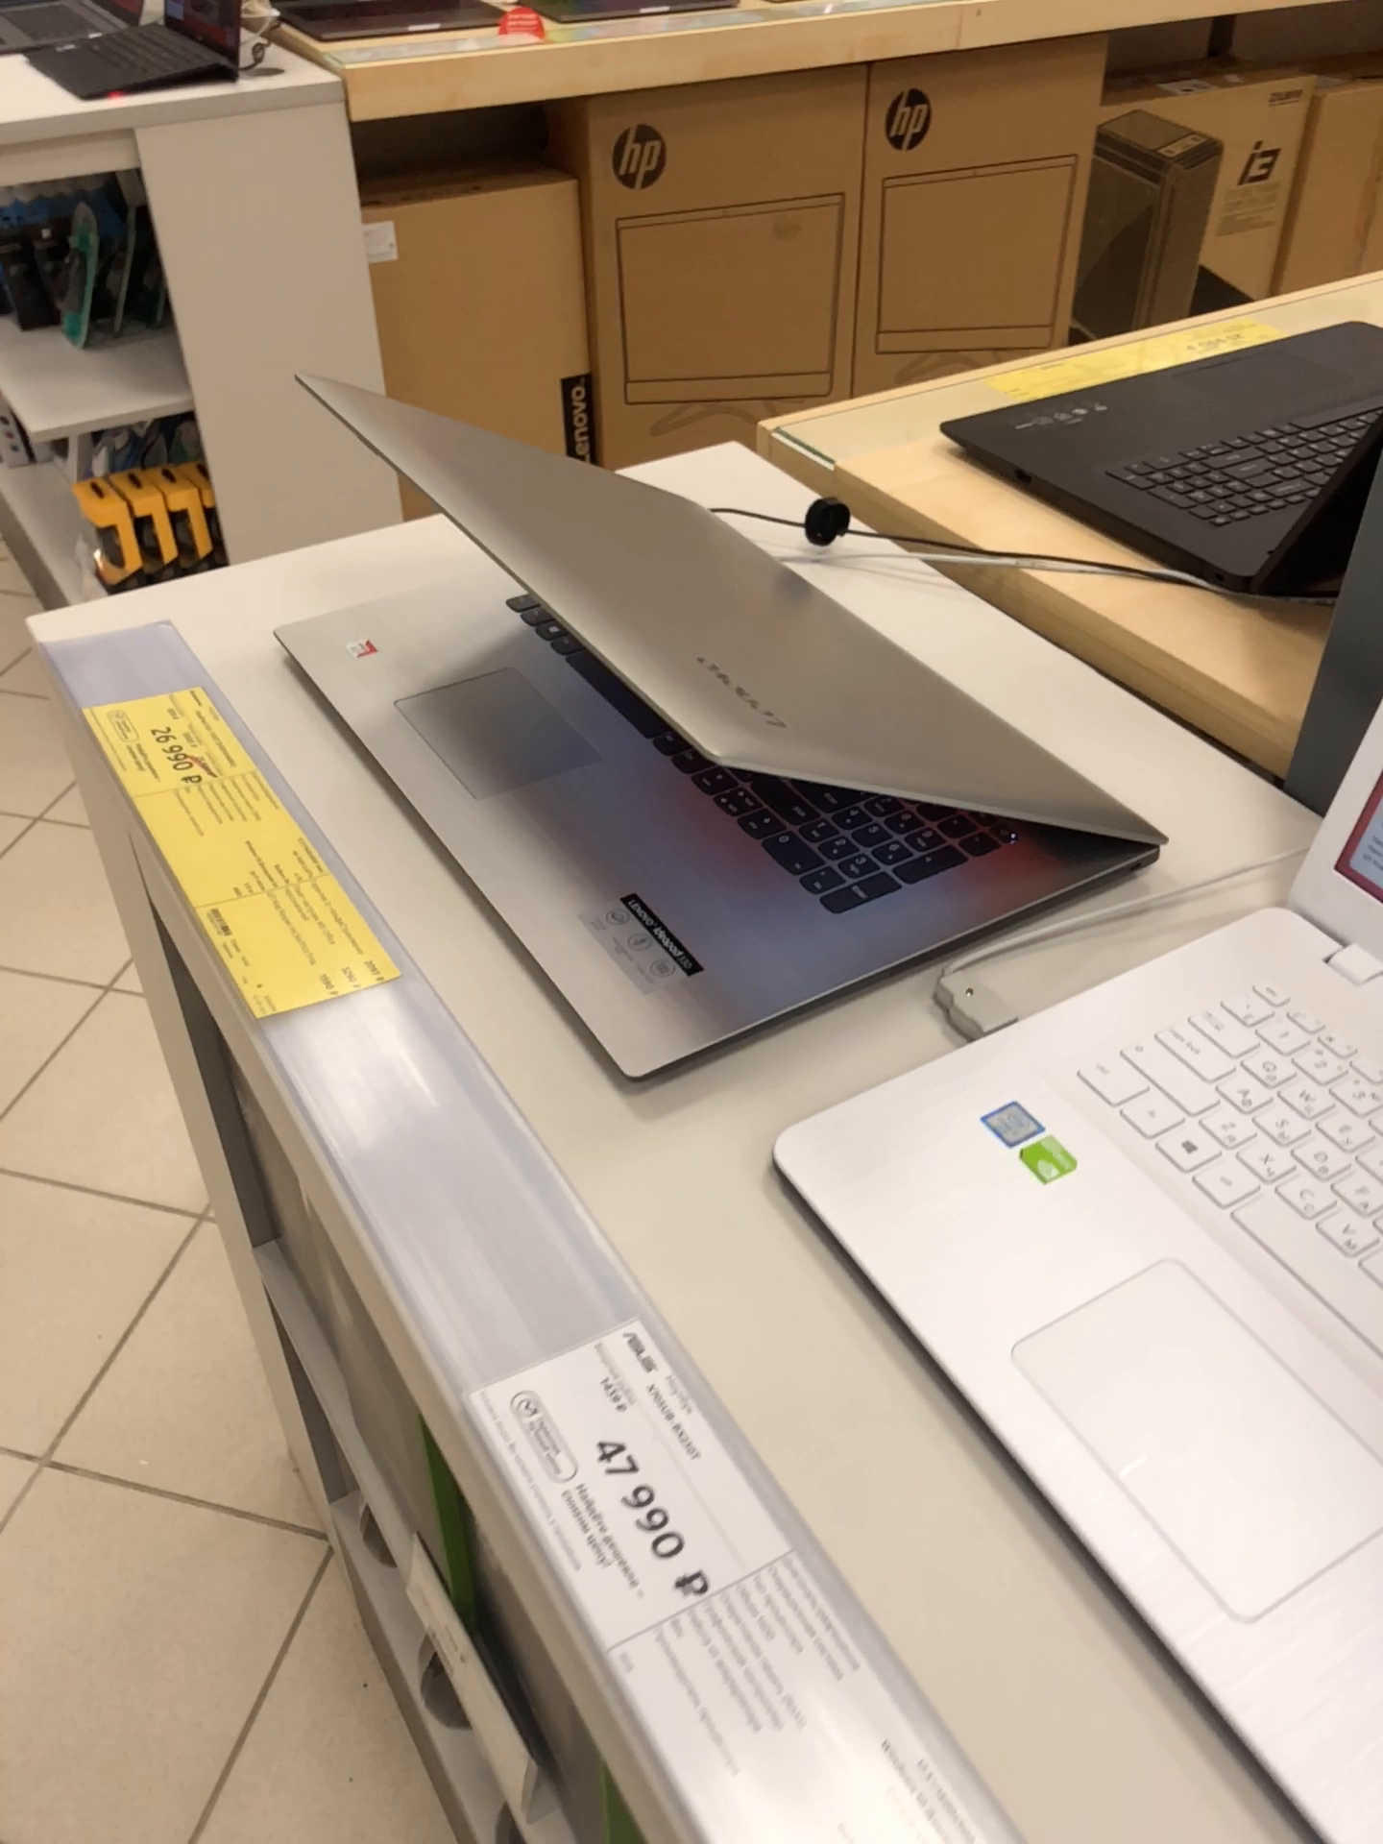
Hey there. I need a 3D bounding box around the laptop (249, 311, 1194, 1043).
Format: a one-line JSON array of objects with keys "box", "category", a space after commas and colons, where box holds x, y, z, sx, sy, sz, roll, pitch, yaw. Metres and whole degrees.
[{"box": [-0.011, -0.157, 0.747, 0.276, 0.129, 0.399, -21, 43, -23], "category": "laptop"}]
